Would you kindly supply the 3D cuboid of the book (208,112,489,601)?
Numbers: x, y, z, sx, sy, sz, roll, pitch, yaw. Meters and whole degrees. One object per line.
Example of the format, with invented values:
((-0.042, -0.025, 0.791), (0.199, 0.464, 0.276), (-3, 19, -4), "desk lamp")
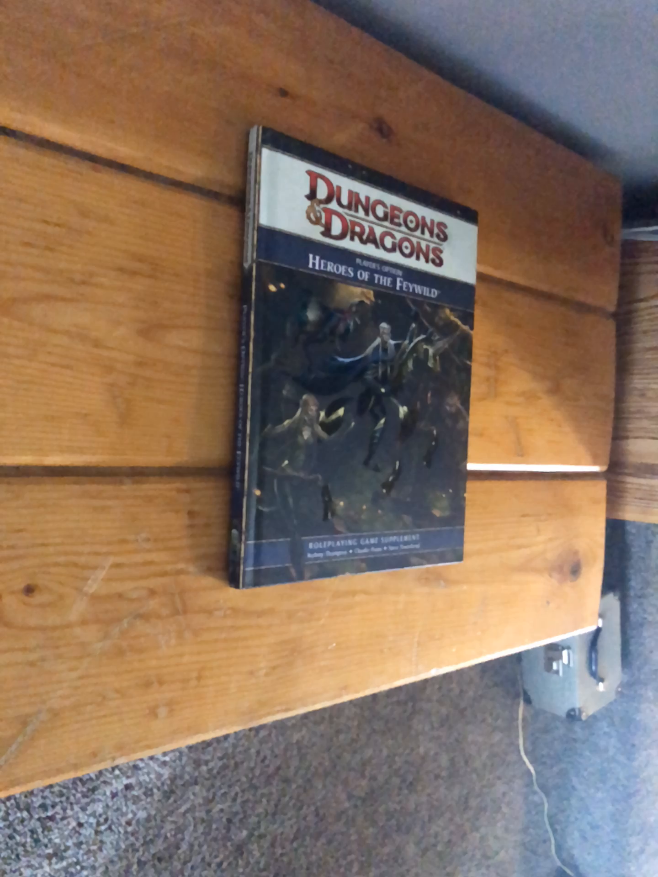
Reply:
((0.025, -0.043, 0.499), (0.221, 0.020, 0.280), (2, 91, -41), "book")
